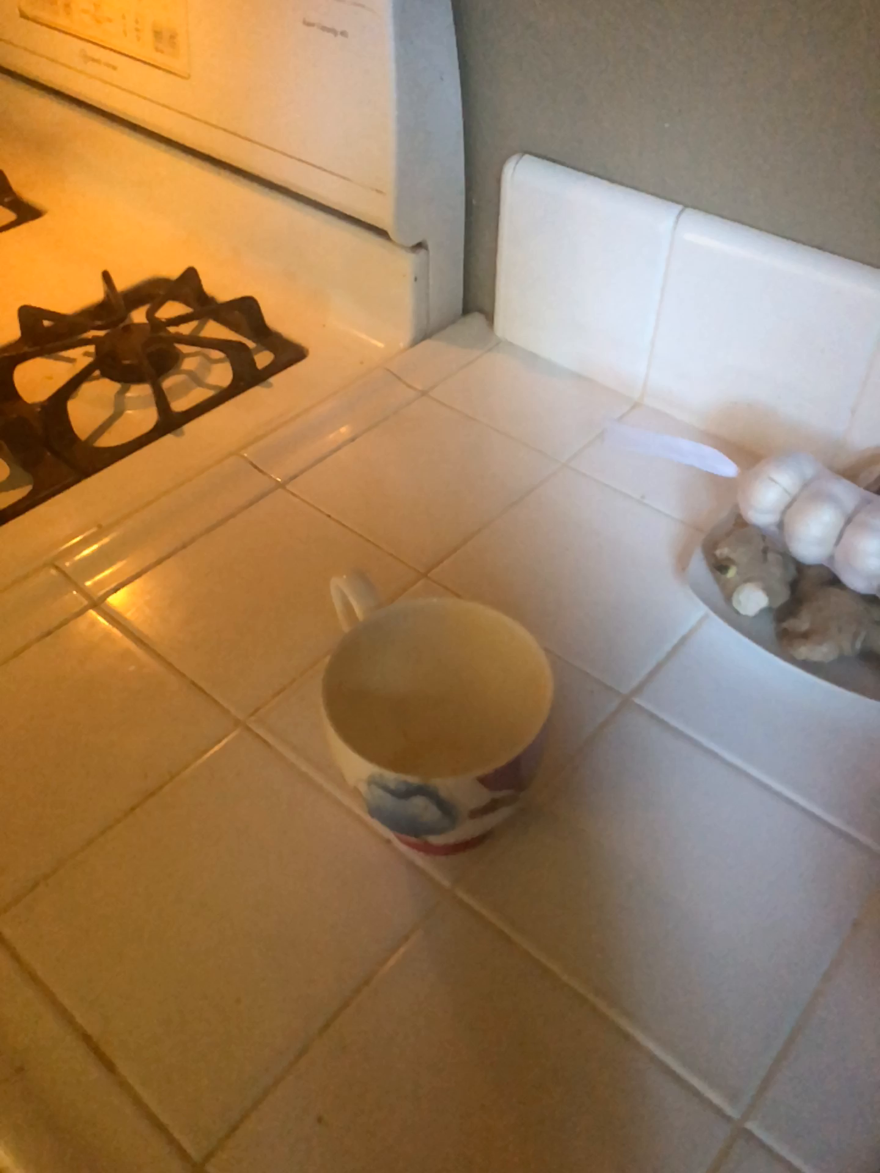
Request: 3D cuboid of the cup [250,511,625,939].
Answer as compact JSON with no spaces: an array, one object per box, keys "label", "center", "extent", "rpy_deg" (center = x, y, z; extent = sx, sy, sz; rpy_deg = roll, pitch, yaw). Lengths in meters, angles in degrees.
[{"label":"cup","center":[-0.007,0.061,0.485],"extent":[0.100,0.089,0.171],"rpy_deg":[-25,50,-22]}]
